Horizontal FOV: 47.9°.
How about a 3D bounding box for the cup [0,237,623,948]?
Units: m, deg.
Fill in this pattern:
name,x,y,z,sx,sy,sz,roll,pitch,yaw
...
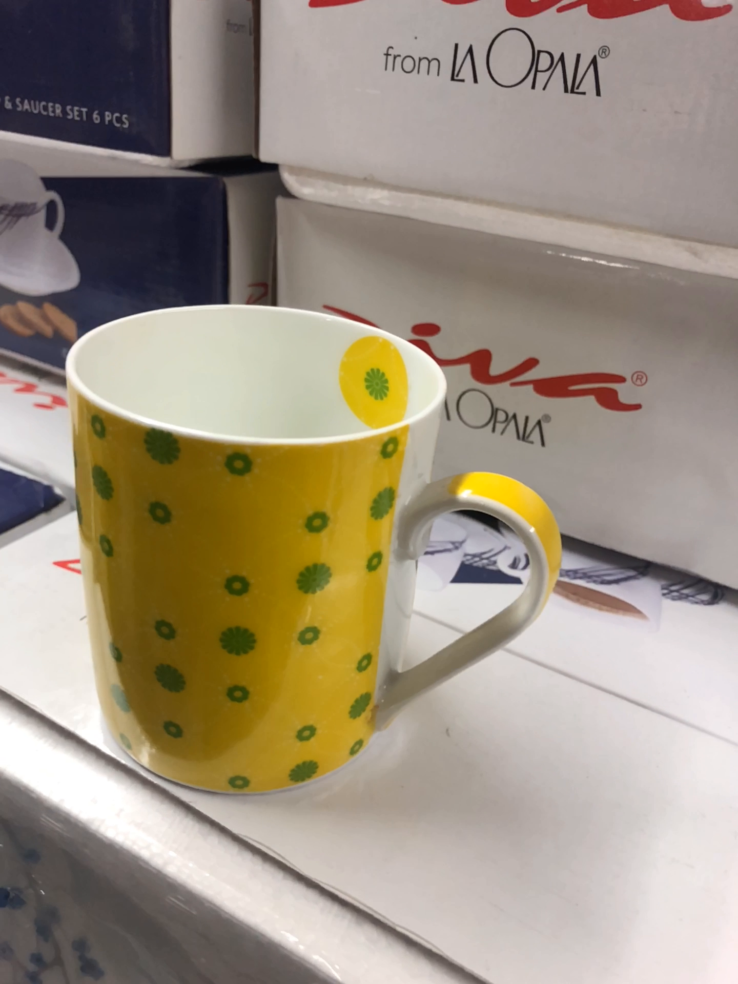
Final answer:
name,x,y,z,sx,sy,sz,roll,pitch,yaw
cup,-0.015,0.008,0.153,0.090,0.079,0.070,19,33,22
